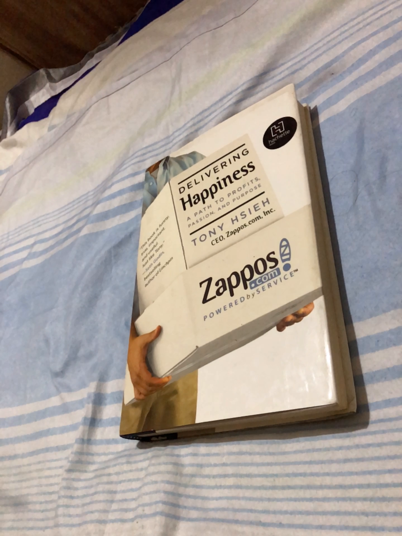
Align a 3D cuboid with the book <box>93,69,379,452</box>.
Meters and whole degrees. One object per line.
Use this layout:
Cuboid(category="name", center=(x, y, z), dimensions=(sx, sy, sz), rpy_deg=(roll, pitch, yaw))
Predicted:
Cuboid(category="book", center=(0.014, -0.004, 0.325), dimensions=(0.171, 0.050, 0.240), rpy_deg=(-21, 52, 34))
